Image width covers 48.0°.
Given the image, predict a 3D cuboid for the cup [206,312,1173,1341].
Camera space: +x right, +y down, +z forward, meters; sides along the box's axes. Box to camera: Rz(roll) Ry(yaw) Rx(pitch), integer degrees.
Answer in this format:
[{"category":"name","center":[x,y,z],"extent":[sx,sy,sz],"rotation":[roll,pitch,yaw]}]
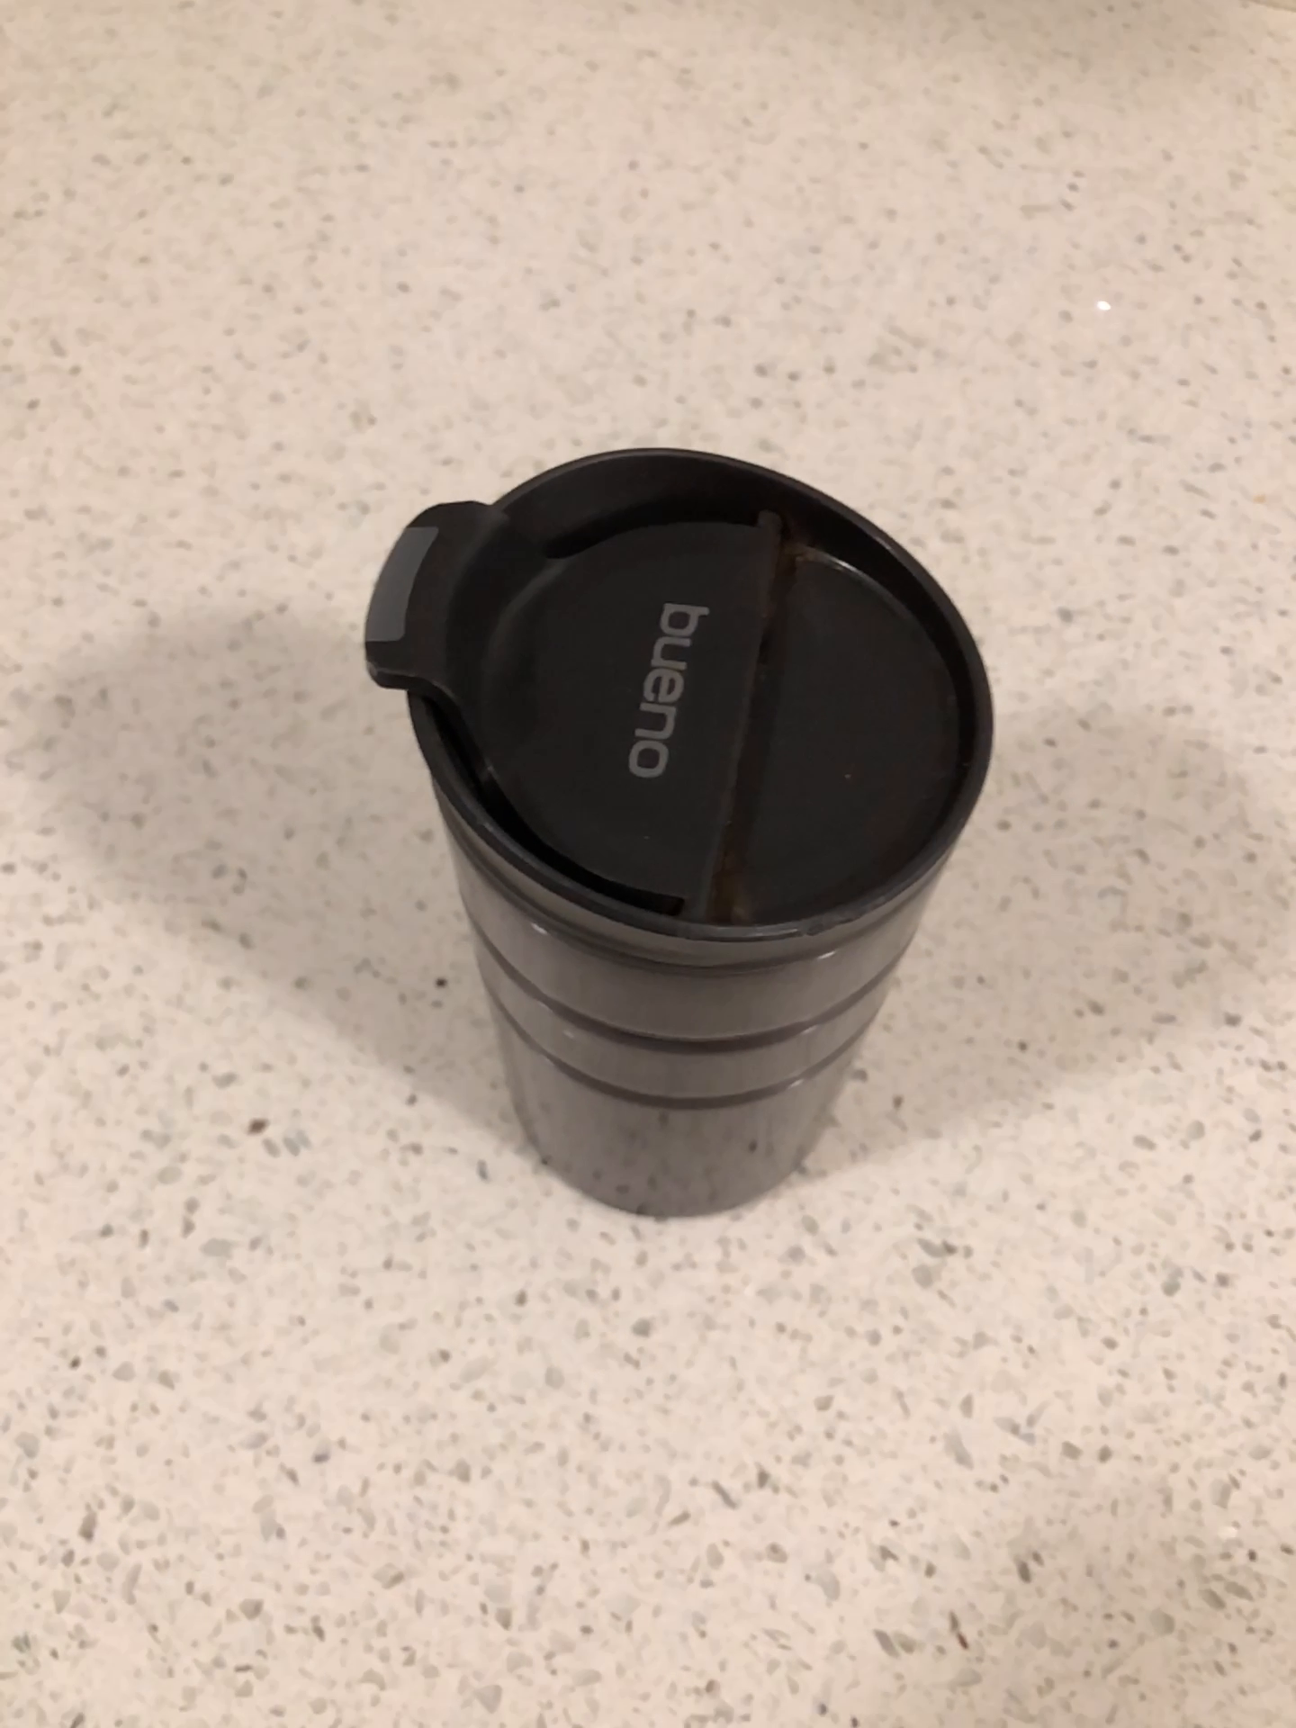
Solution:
[{"category":"cup","center":[0.005,0.001,0.231],"extent":[0.085,0.116,0.086],"rotation":[0,60,0]}]
